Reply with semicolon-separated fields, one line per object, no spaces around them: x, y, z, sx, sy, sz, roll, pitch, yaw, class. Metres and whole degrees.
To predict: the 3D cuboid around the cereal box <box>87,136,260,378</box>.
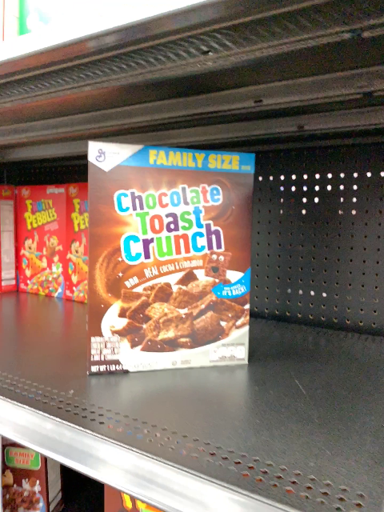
-0.029;0.000;0.586;0.240;0.320;0.070;-1;5;-15;cereal box
